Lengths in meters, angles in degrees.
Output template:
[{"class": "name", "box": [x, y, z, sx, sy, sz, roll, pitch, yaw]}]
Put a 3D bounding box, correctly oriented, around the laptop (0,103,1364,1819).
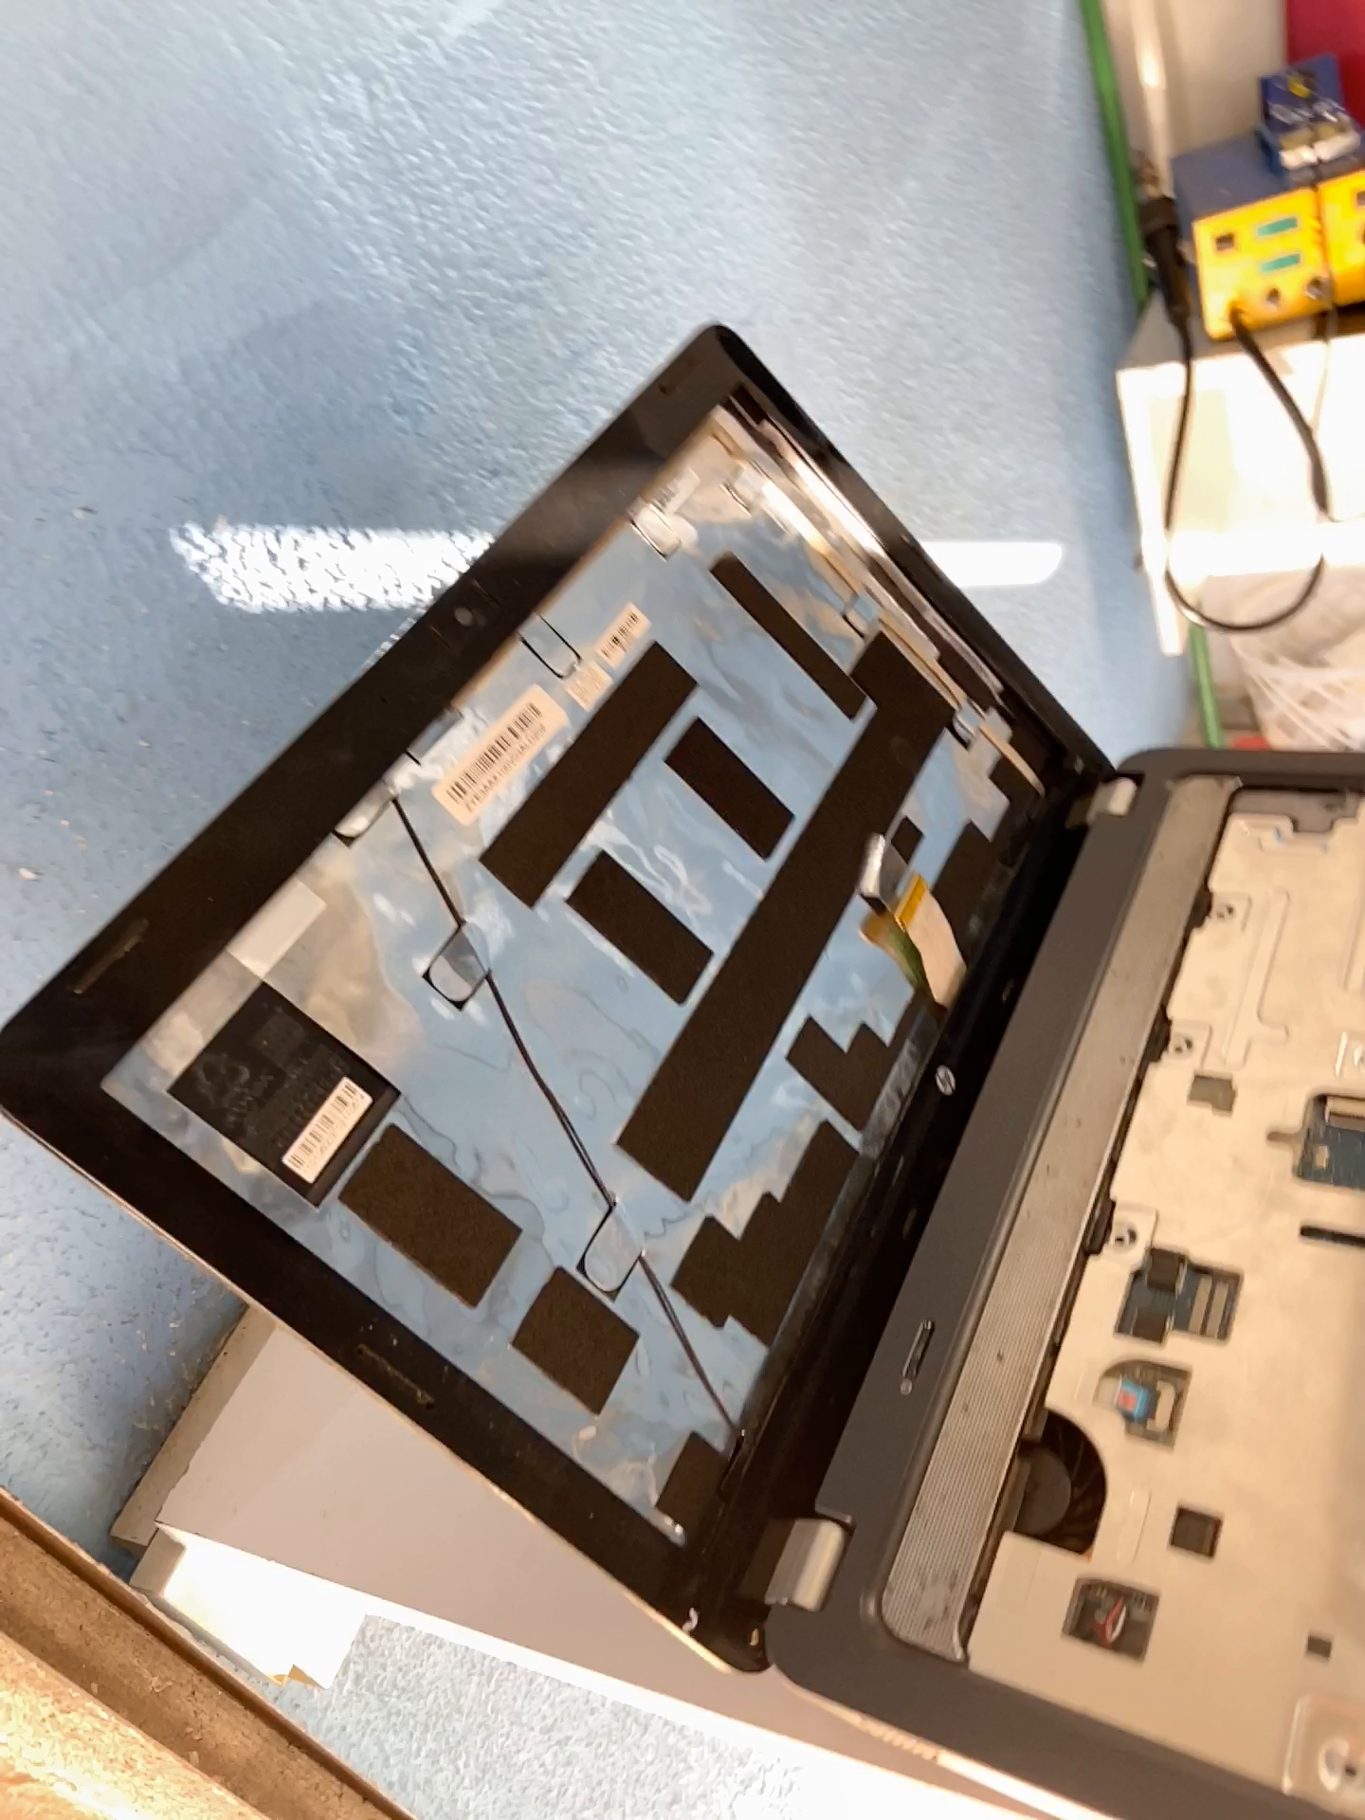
[{"class": "laptop", "box": [0.103, -0.006, 0.340, 0.349, 0.179, 0.339, 5, 45, 32]}]
